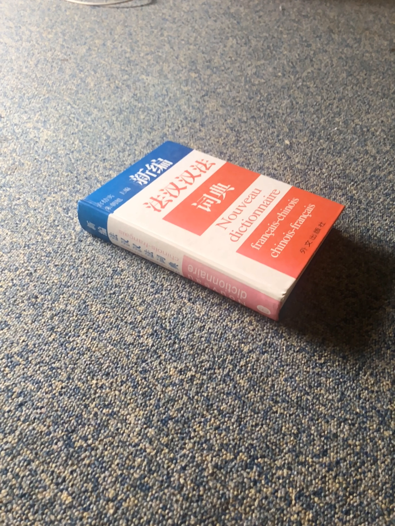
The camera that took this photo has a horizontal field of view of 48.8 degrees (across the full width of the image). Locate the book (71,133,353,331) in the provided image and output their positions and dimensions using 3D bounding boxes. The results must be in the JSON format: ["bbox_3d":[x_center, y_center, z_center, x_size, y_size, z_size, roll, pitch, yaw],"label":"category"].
[{"bbox_3d":[0.016,-0.045,0.409,0.208,0.034,0.153,25,48,20],"label":"book"}]
